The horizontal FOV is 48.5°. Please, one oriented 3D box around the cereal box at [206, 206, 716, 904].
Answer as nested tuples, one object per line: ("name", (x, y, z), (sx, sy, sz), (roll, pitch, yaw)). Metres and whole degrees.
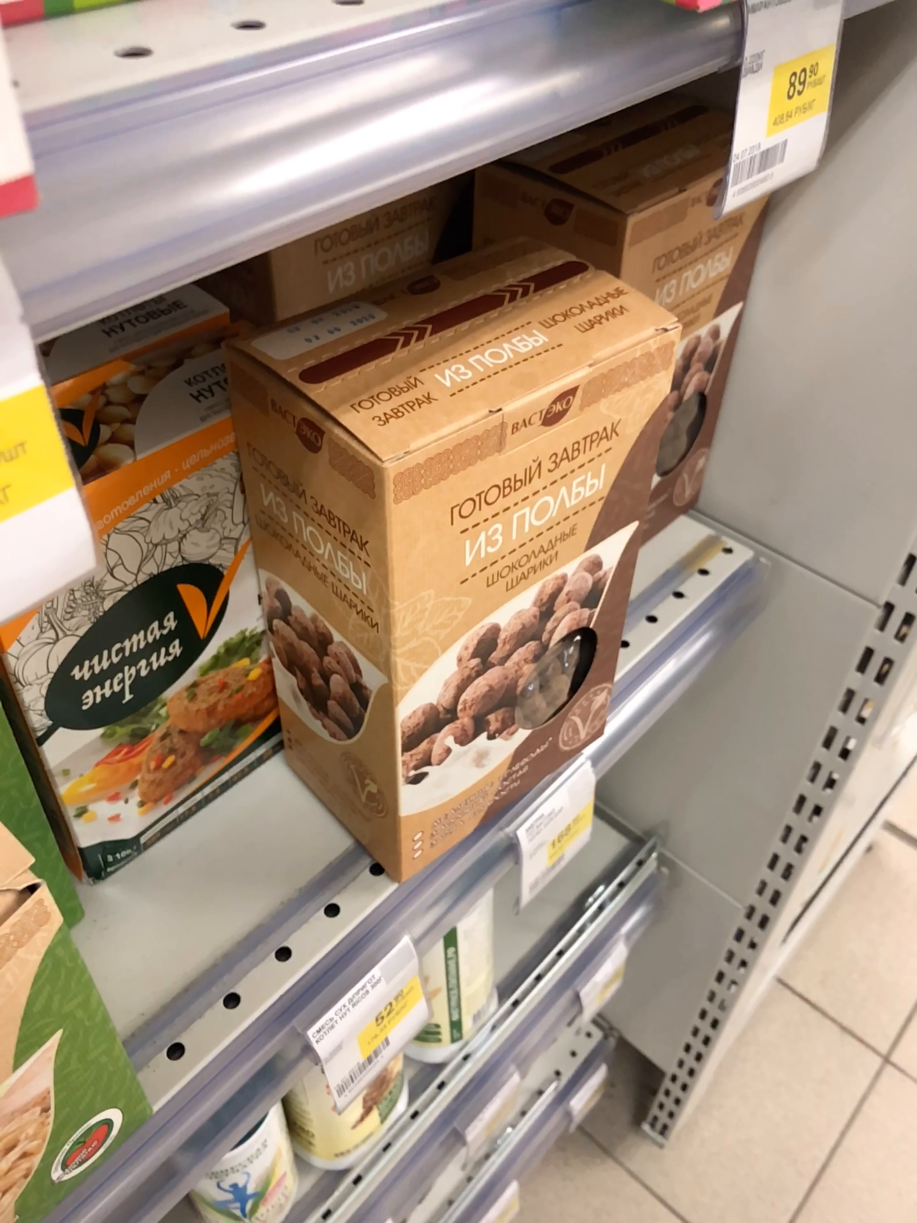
("cereal box", (0.001, -0.015, 0.370), (0.130, 0.209, 0.080), (-30, 52, -30))
